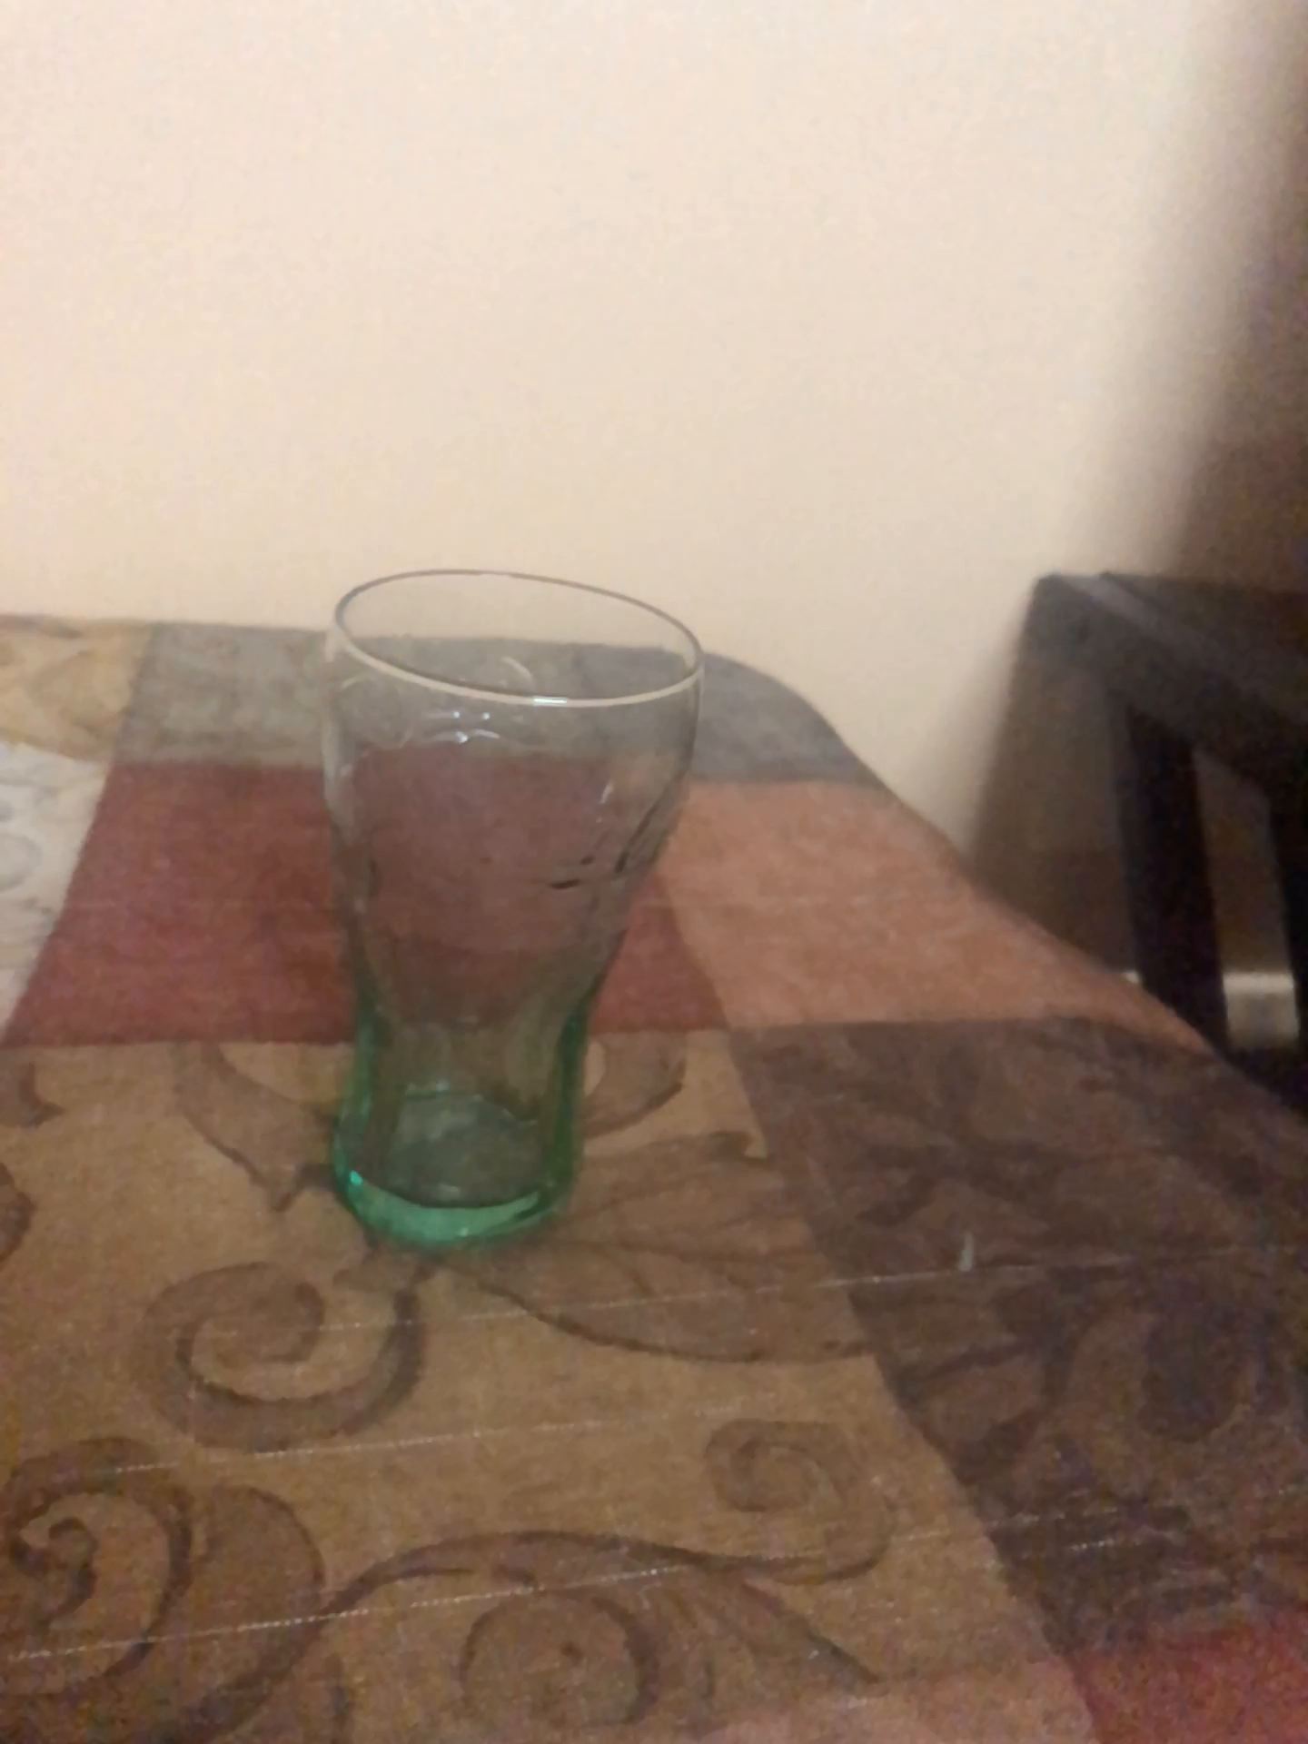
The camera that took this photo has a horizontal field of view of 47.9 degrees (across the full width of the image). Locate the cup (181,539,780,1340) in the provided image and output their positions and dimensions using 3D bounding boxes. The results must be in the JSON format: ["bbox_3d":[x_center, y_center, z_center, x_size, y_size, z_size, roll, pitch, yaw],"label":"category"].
[{"bbox_3d":[-0.032,0.007,0.265,0.070,0.110,0.070,8,25,-4],"label":"cup"}]
